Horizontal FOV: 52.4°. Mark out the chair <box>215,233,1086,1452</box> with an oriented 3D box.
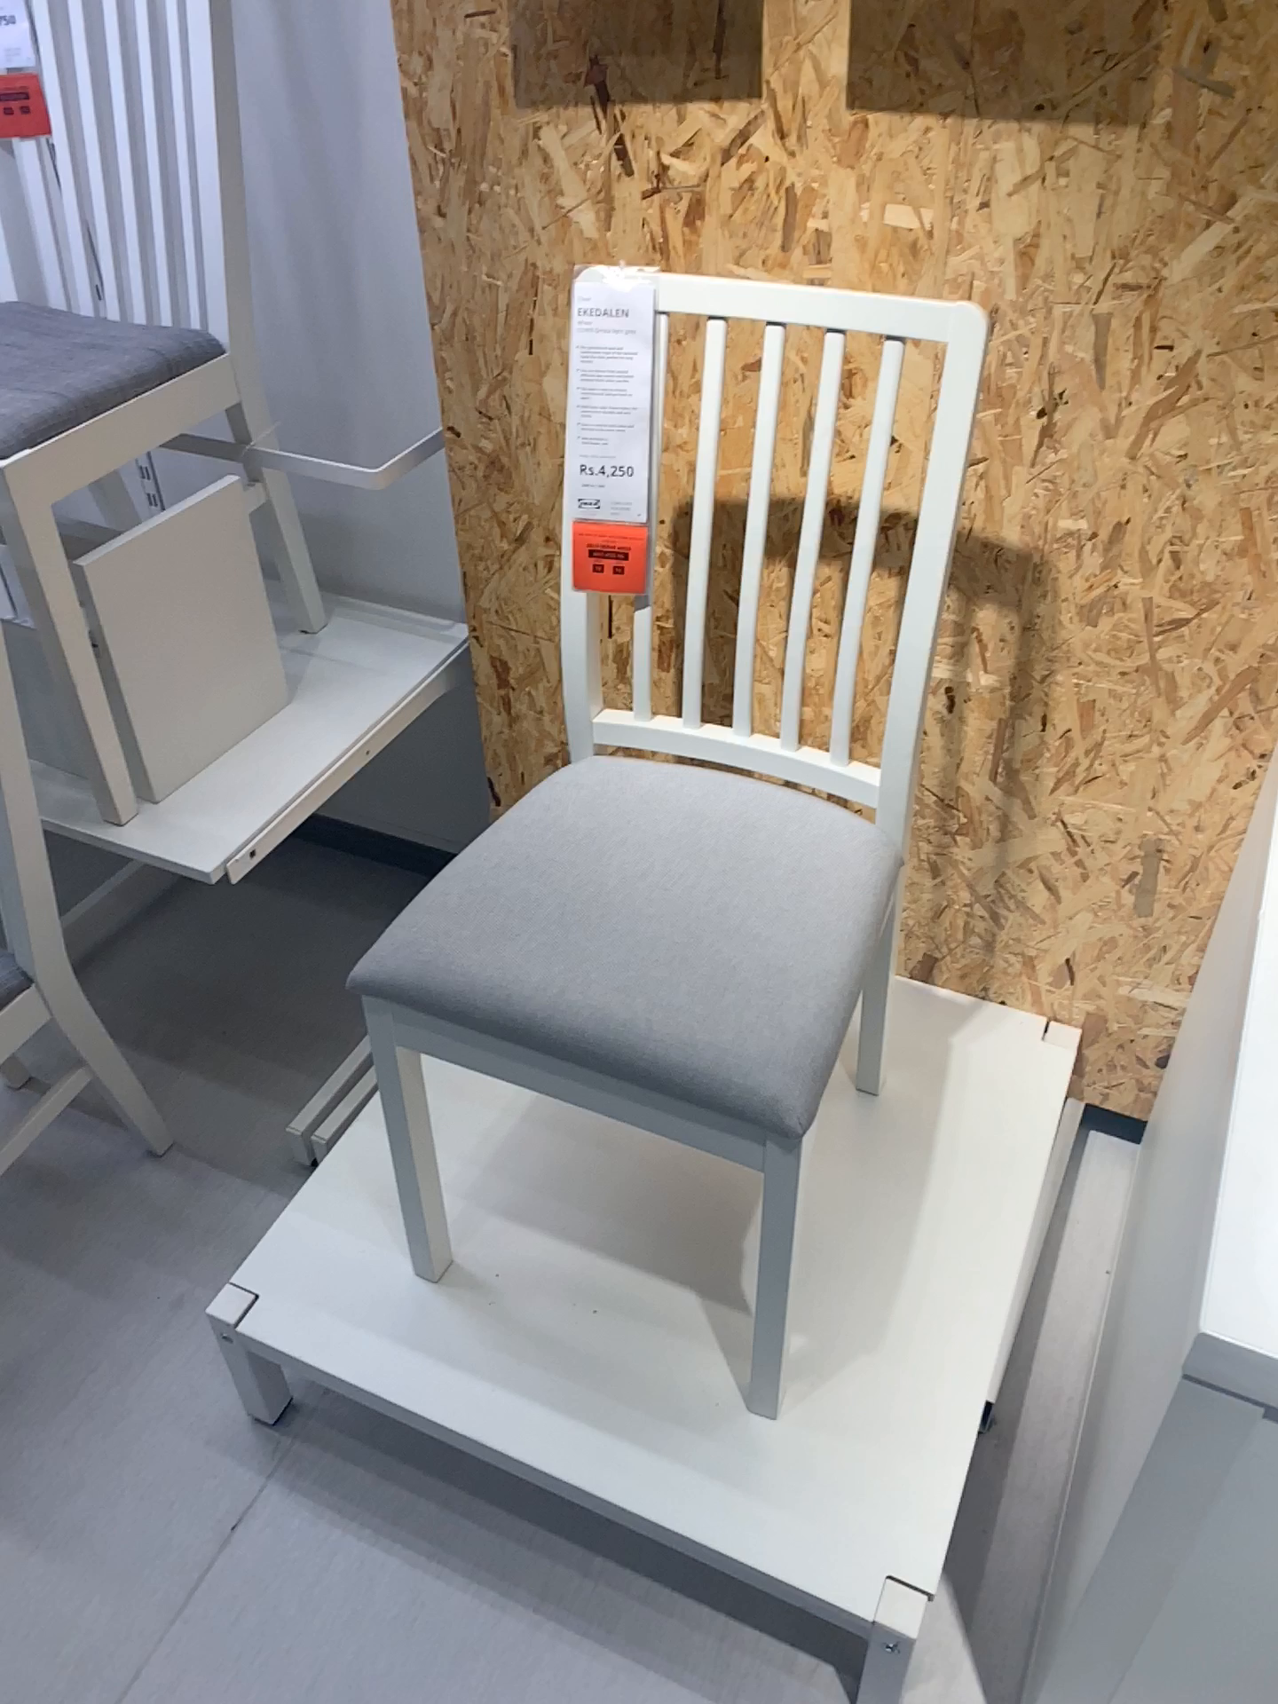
[{"bbox_3d":[0.053,0.015,1.217,0.451,0.956,0.491,15,42,20],"label":"chair"}]
